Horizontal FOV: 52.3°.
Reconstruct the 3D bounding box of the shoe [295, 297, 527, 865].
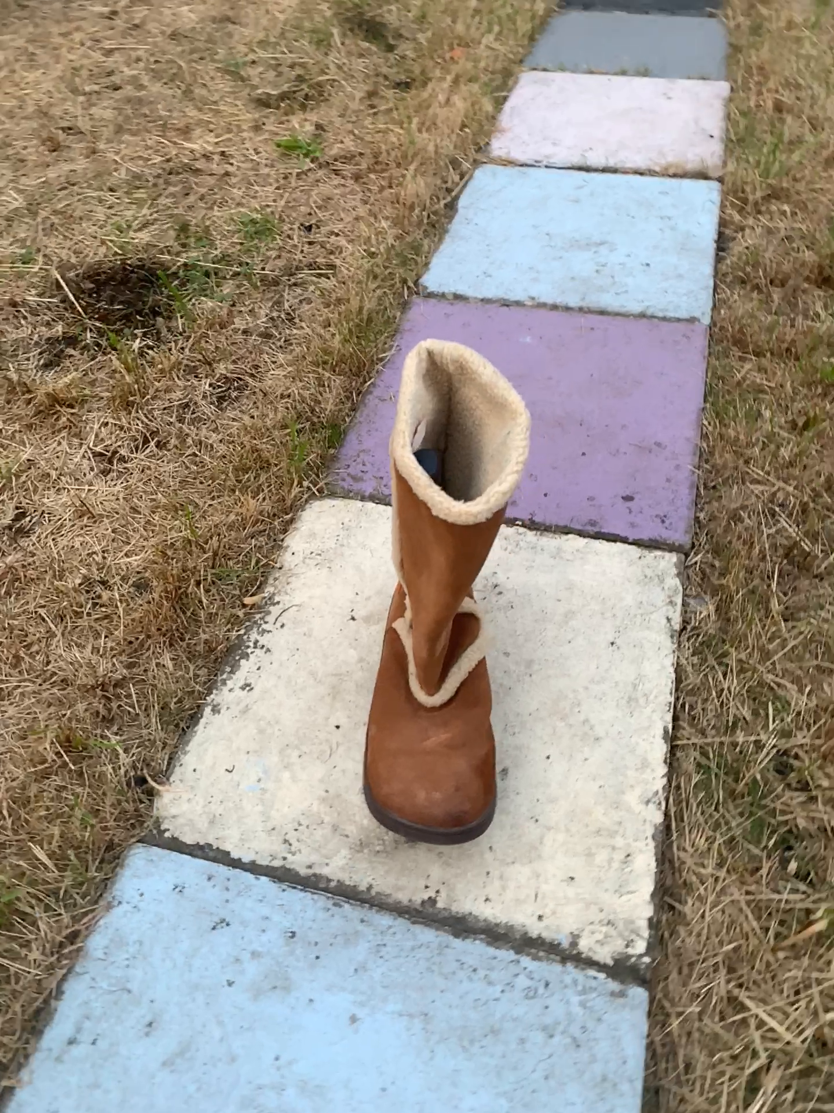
[{"bbox_3d":[0.010,0.023,0.597,0.110,0.297,0.262,3,48,4],"label":"shoe"}]
